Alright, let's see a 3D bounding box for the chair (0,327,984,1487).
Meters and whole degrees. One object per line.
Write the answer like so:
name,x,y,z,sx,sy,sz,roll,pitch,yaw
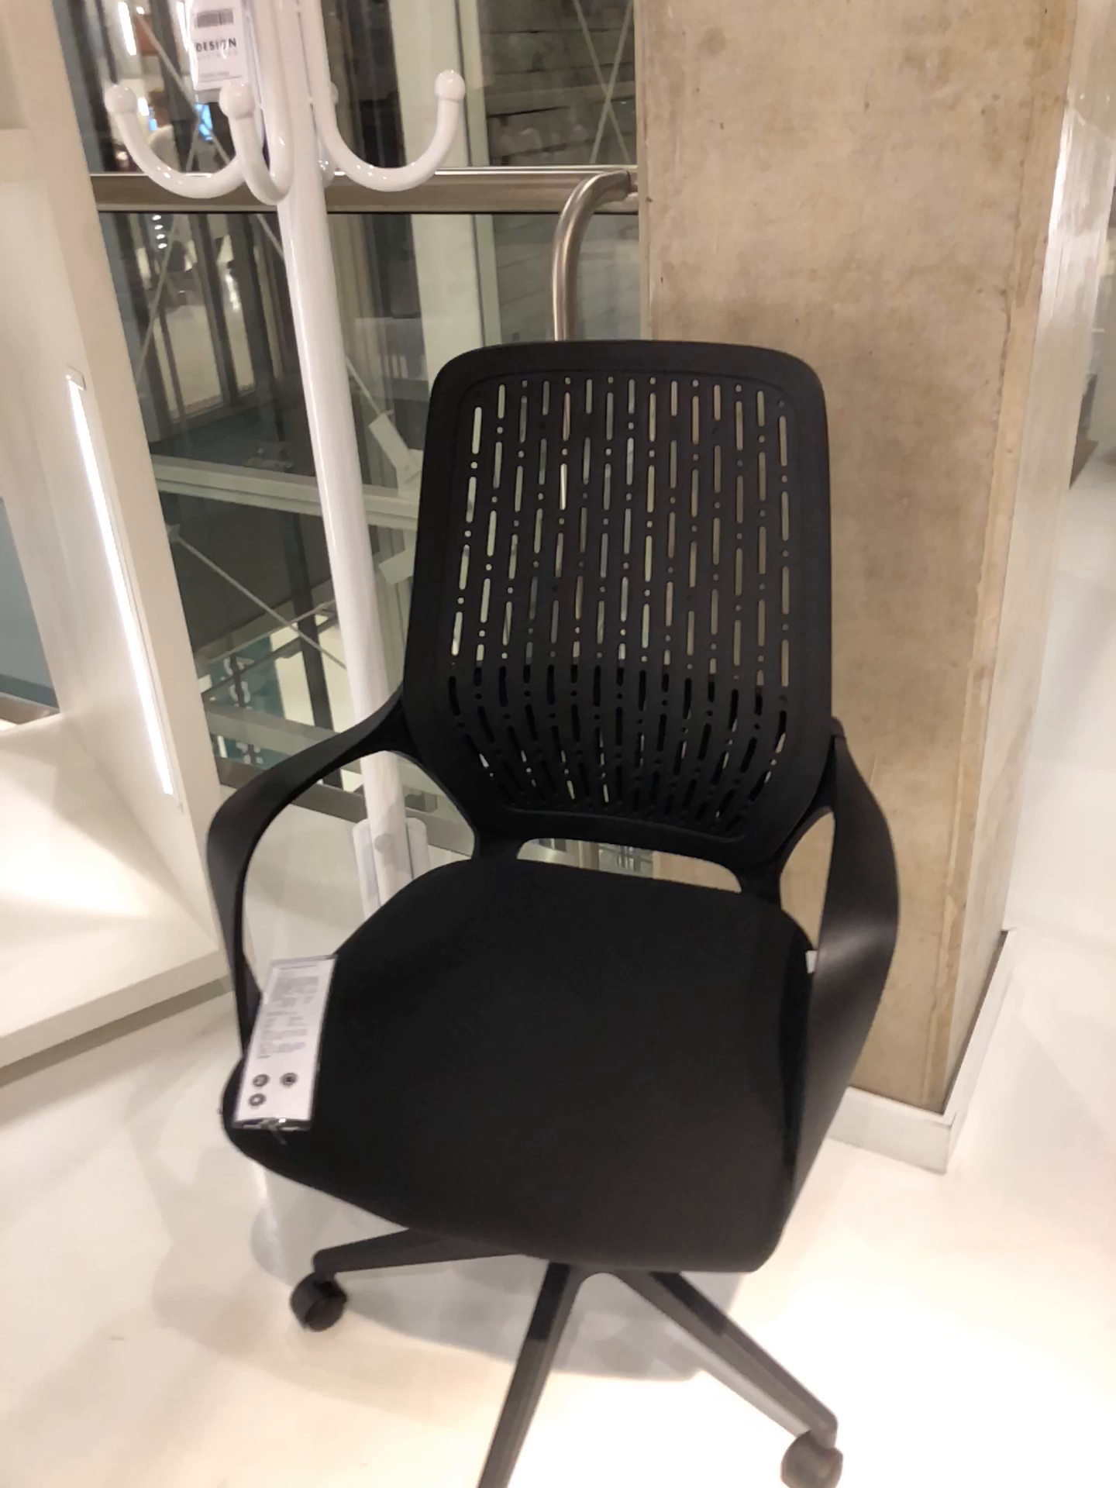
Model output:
chair,-0.010,0.208,1.170,0.640,1.022,0.705,8,31,20
